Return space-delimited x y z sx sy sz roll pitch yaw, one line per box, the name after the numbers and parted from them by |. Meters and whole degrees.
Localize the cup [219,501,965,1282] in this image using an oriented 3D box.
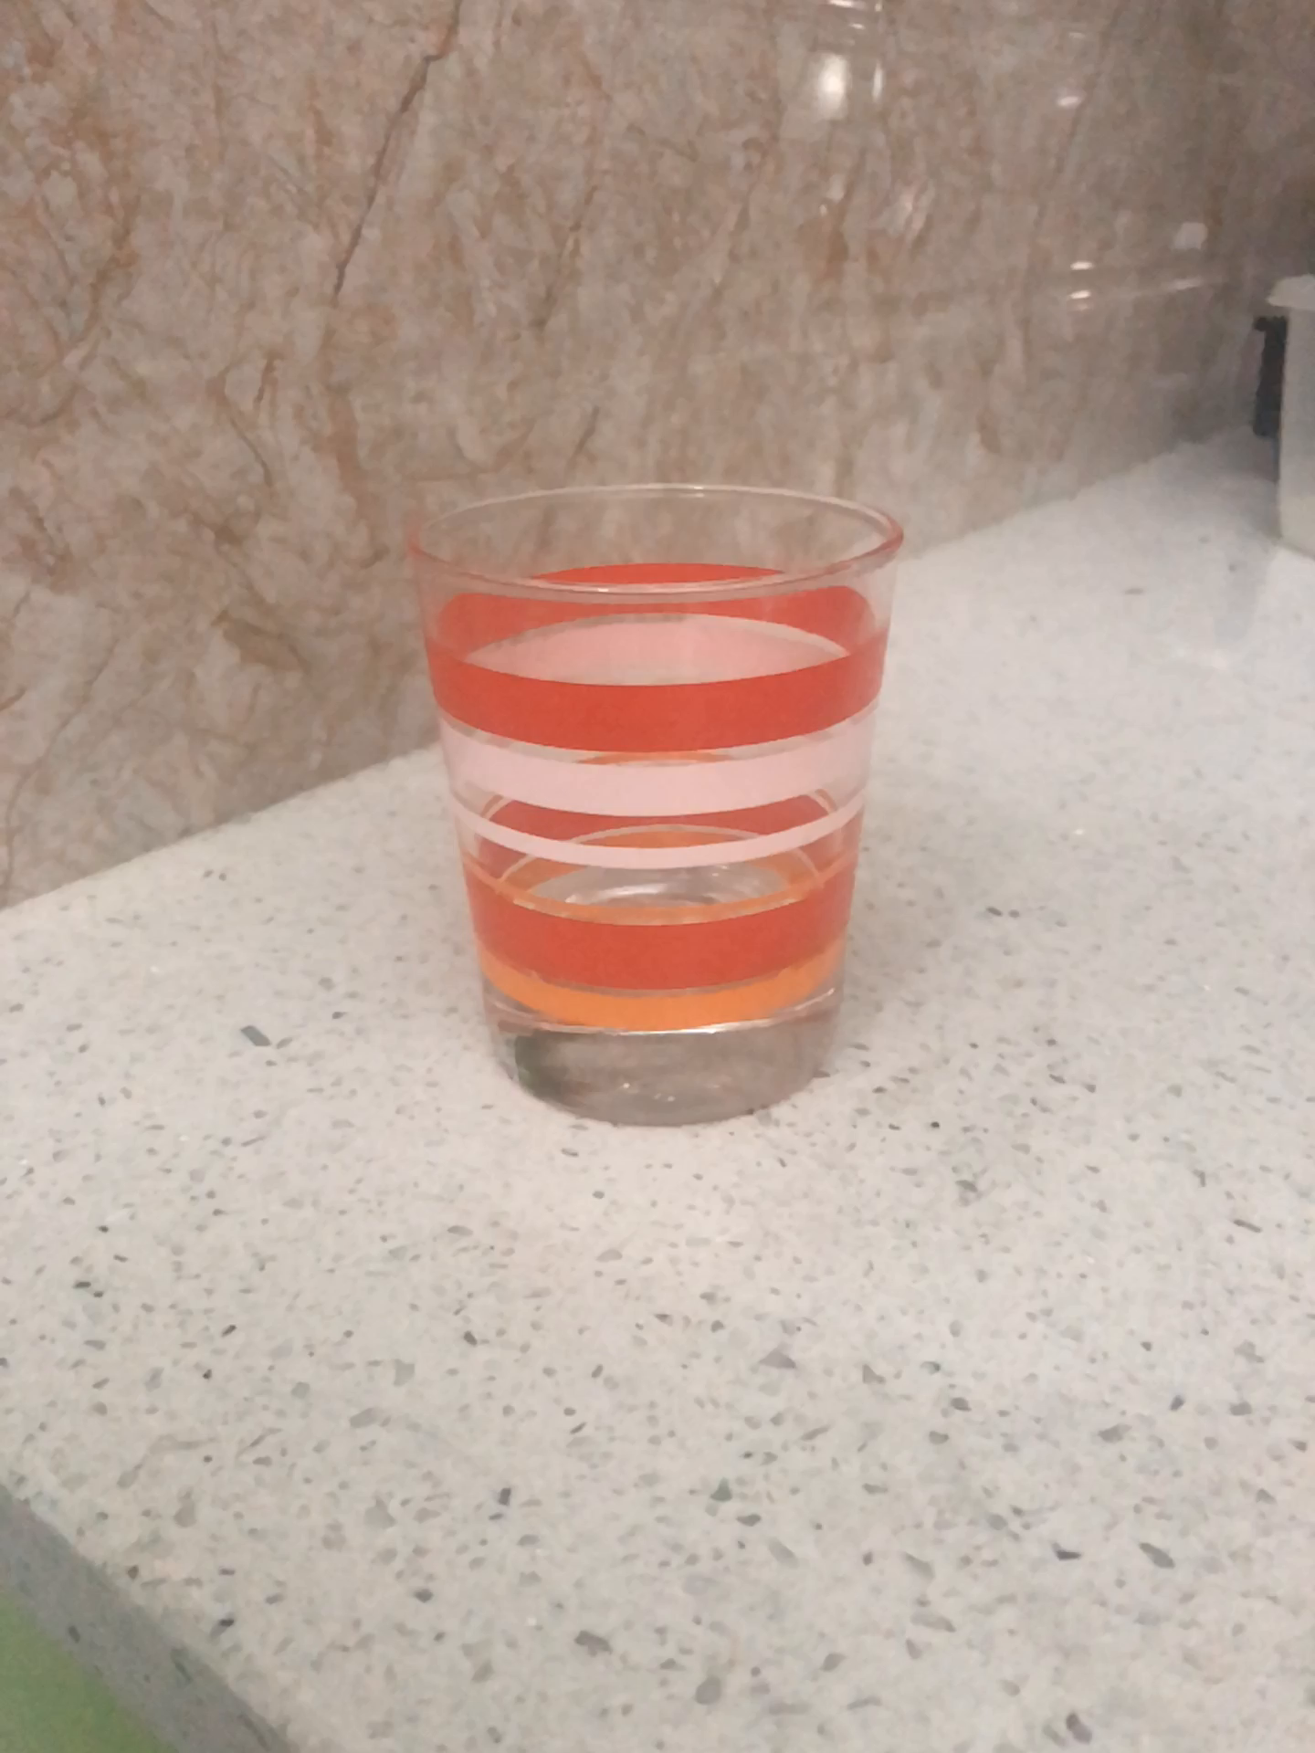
-0.005 -0.007 0.246 0.080 0.090 0.090 12 27 28 | cup
